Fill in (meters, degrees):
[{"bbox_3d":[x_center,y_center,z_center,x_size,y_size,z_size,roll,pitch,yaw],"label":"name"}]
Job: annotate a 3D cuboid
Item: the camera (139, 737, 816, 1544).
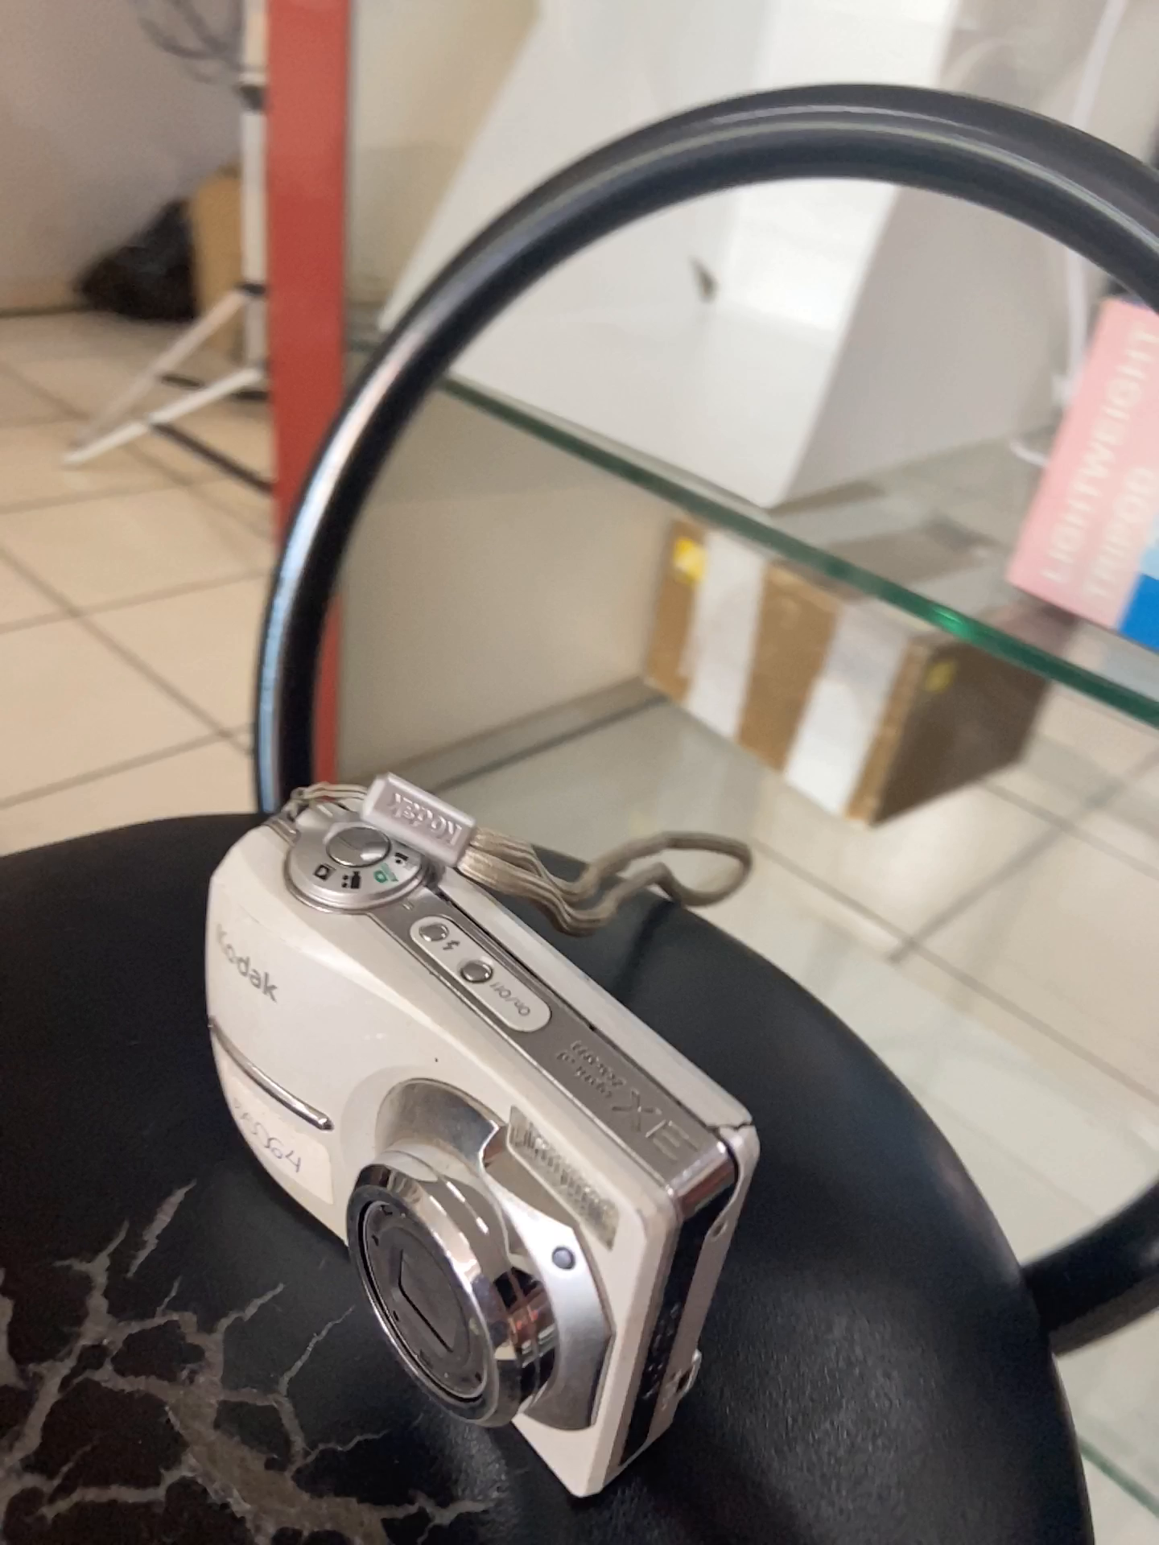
[{"bbox_3d":[-0.021,0.050,0.180,0.090,0.070,0.040,32,38,32],"label":"camera"}]
